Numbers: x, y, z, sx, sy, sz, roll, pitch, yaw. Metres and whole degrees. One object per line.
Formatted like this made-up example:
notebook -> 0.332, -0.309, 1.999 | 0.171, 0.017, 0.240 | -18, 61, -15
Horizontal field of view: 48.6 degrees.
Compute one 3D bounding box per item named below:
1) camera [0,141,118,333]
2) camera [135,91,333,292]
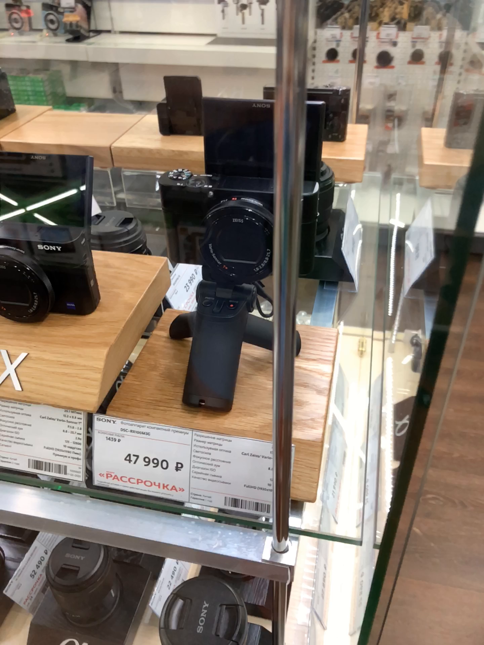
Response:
camera -> -0.153, -0.059, 0.364 | 0.102, 0.102, 0.065 | 7, 38, 11
camera -> -0.001, -0.083, 0.337 | 0.102, 0.102, 0.057 | 7, 38, 11
